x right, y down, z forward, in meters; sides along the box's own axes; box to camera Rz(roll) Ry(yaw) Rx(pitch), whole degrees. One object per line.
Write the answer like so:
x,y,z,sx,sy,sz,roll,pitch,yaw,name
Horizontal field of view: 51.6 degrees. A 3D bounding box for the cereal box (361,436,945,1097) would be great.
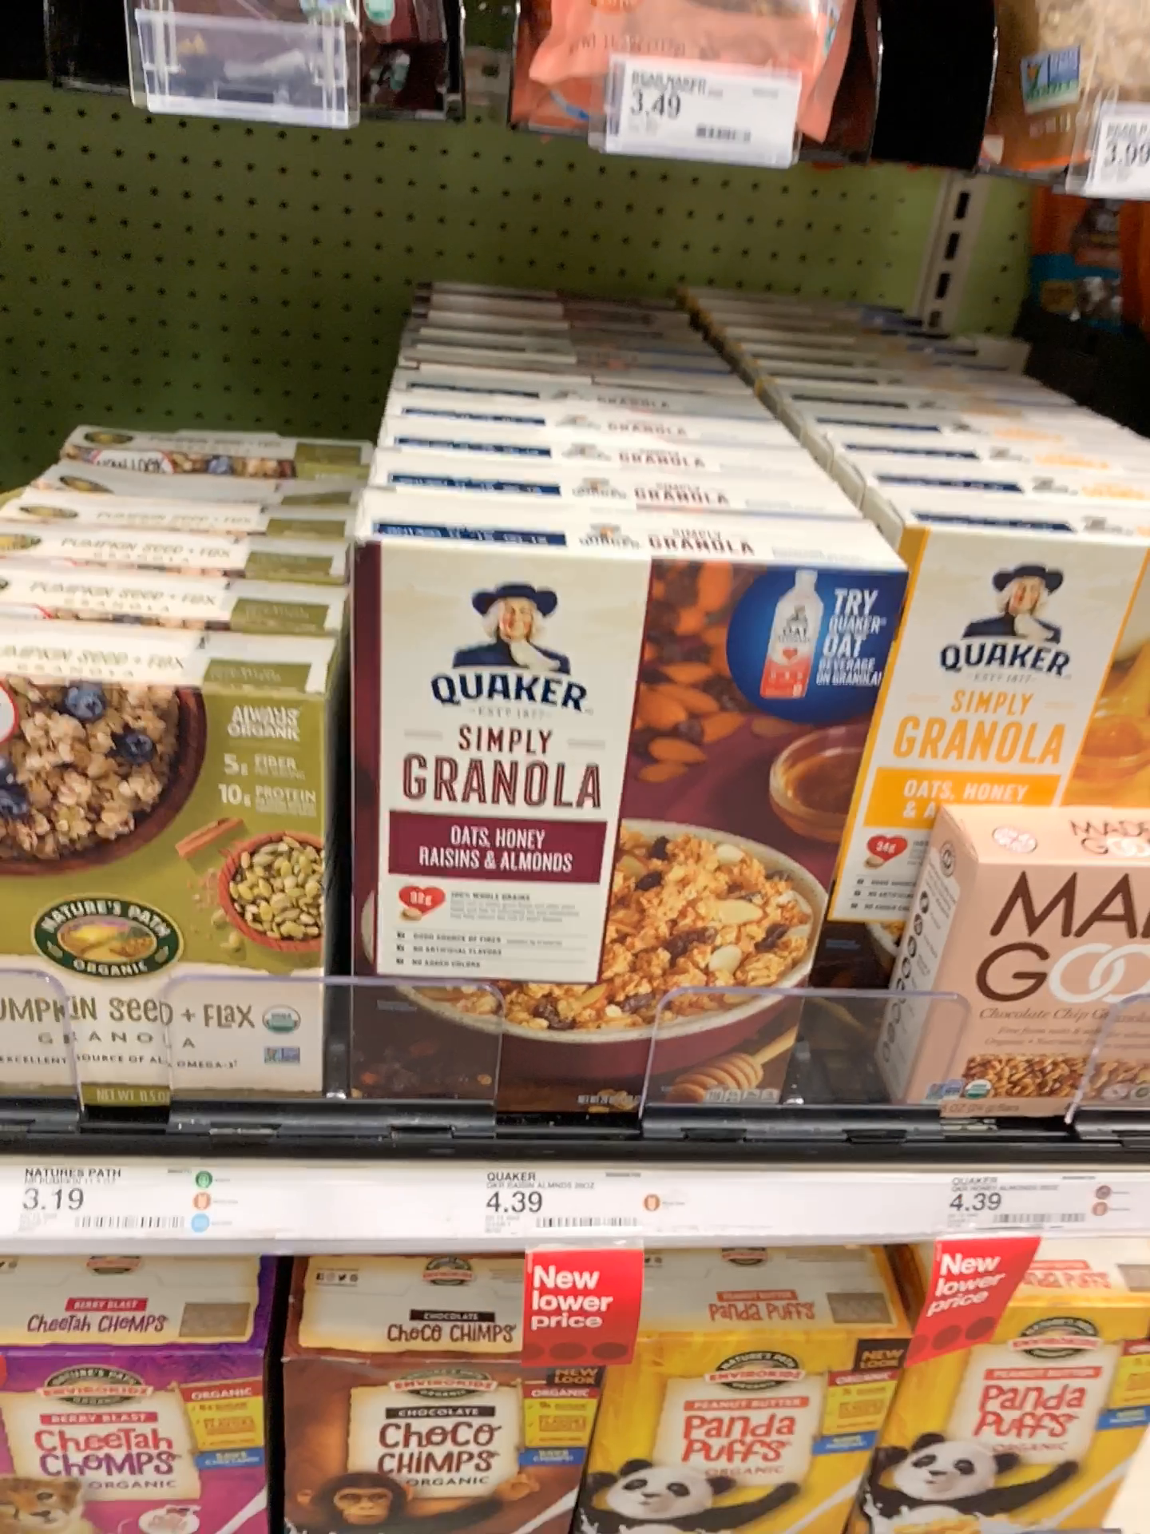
0.013,0.013,0.455,0.180,0.249,0.060,3,31,-7,cereal box
